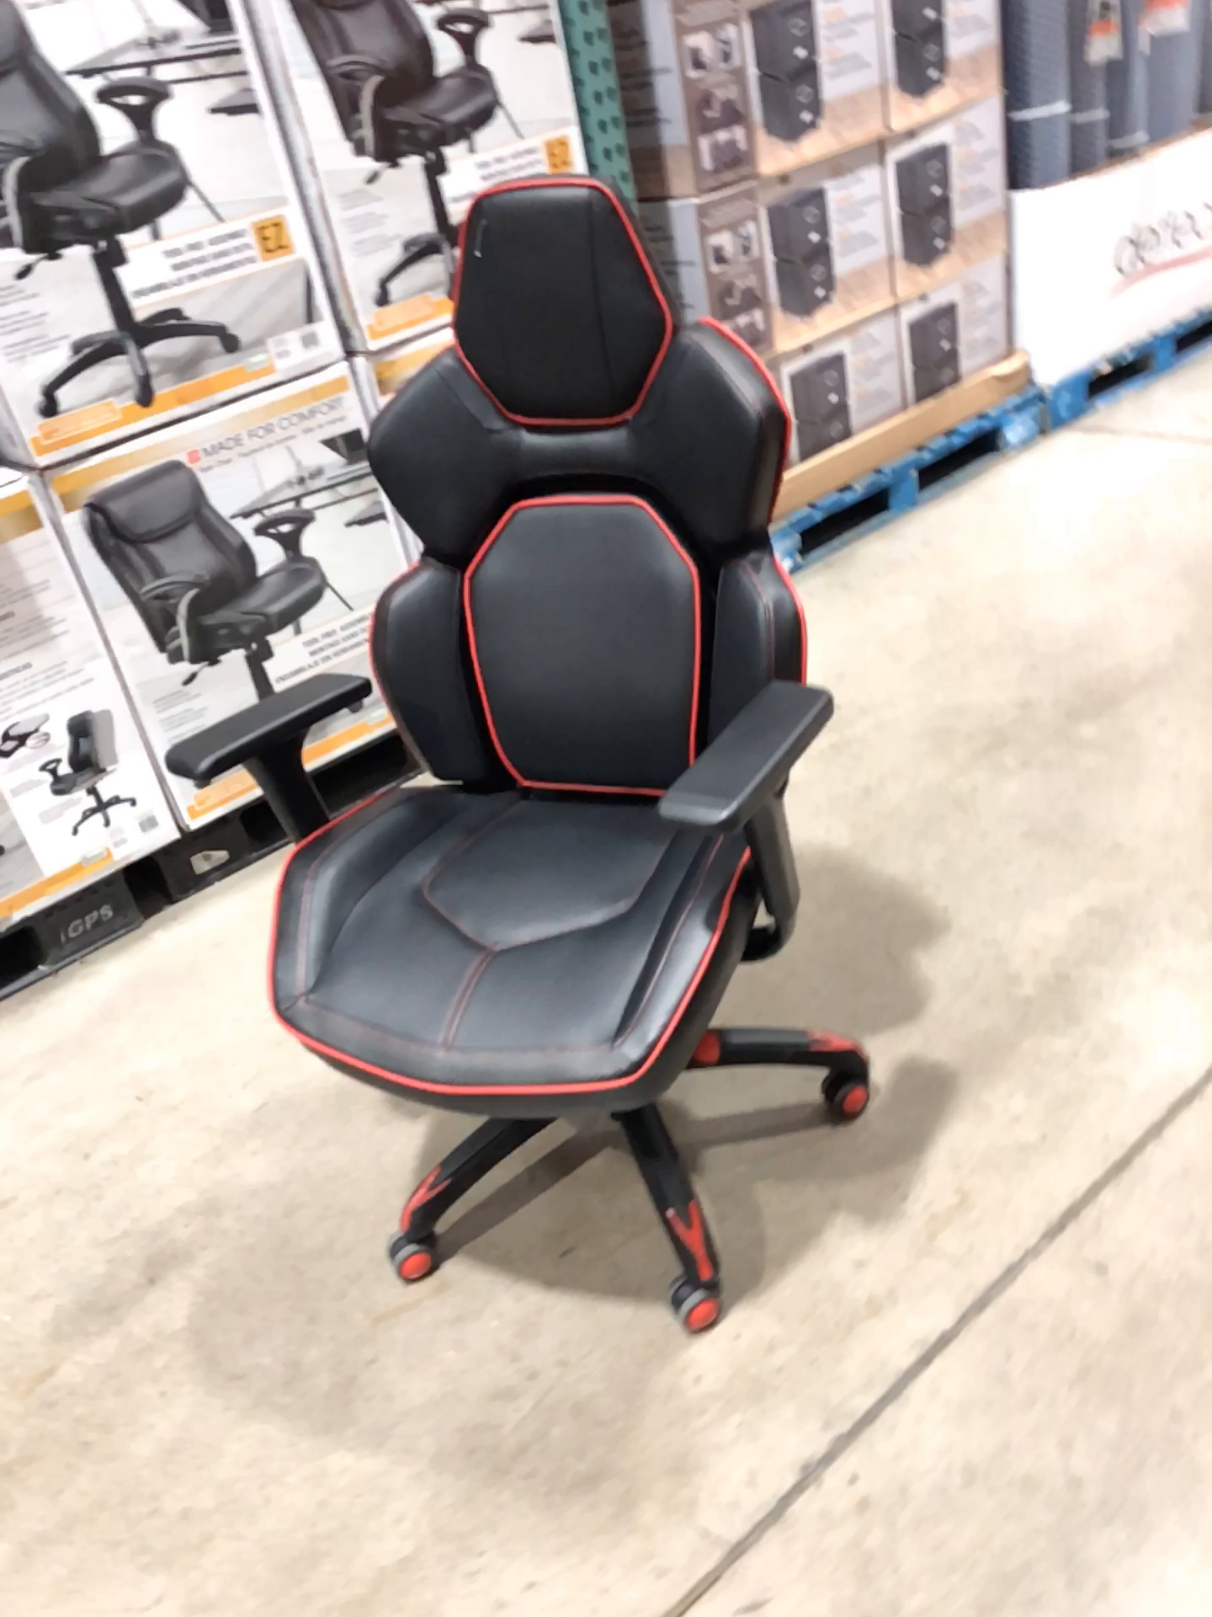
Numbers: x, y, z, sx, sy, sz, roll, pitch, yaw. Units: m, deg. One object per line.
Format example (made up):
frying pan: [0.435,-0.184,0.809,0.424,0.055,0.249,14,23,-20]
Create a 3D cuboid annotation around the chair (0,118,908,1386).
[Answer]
chair: [-0.099,-0.063,1.549,0.721,1.145,0.722,1,33,21]
